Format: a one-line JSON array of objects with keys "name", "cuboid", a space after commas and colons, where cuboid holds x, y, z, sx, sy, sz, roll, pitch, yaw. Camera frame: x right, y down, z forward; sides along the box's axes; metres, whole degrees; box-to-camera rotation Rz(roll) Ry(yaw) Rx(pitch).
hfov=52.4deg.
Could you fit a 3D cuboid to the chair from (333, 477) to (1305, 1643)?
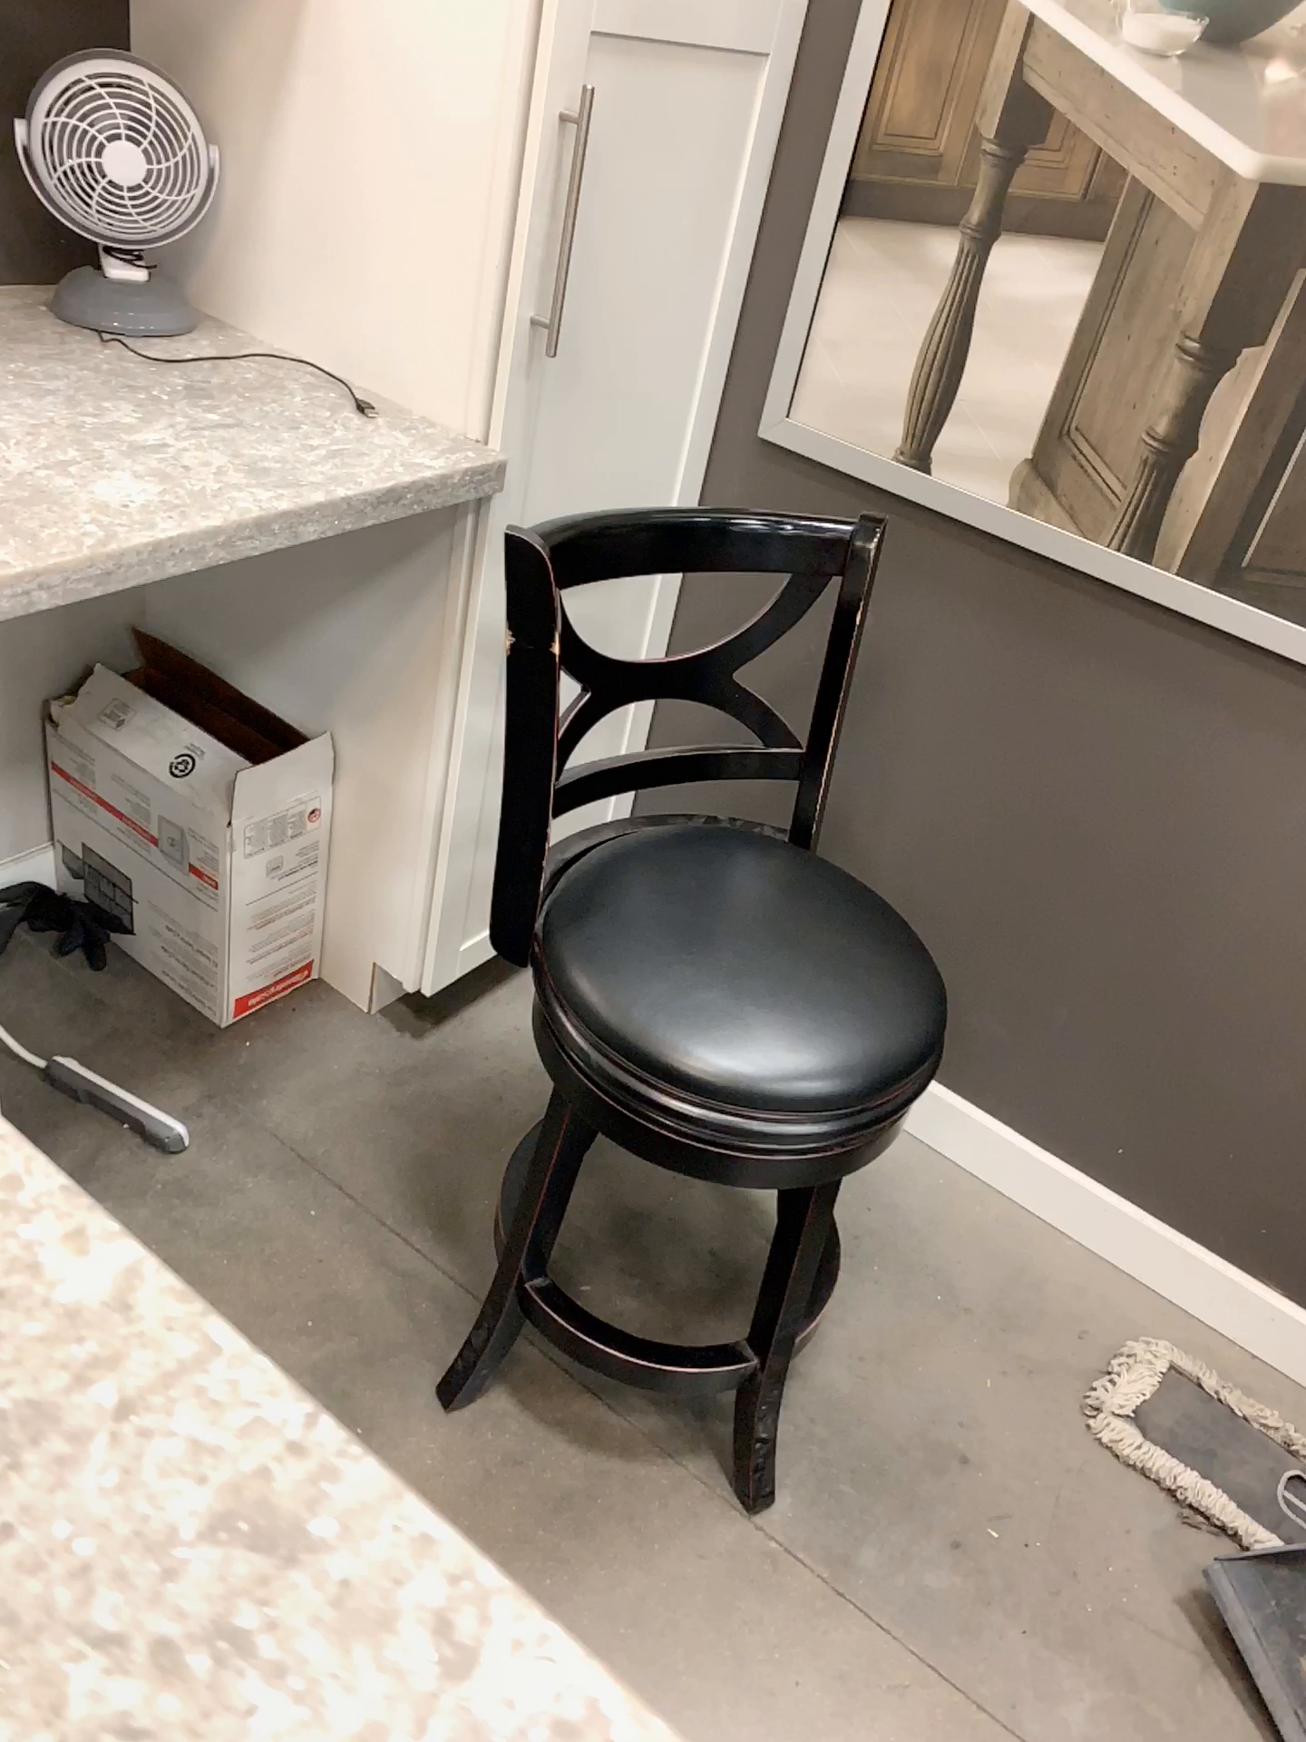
[{"name": "chair", "cuboid": [0.077, 0.159, 1.369, 0.559, 0.912, 0.606, -12, 42, -32]}]
